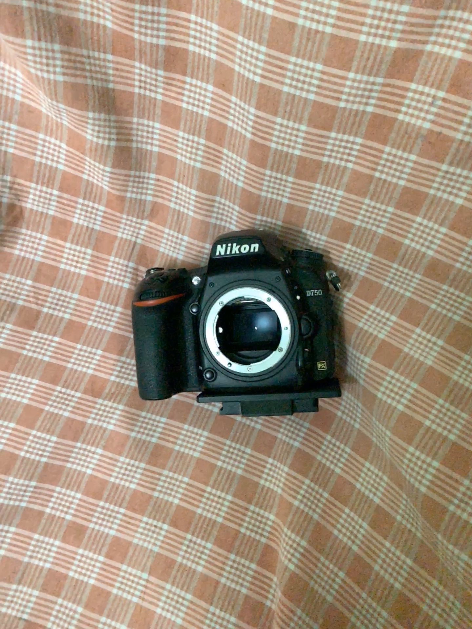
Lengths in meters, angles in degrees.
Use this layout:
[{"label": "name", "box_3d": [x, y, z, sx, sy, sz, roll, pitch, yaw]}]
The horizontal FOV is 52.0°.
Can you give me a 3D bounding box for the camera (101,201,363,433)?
[{"label": "camera", "box_3d": [0.002, 0.002, 0.326, 0.145, 0.085, 0.125, -5, 93, 9]}]
